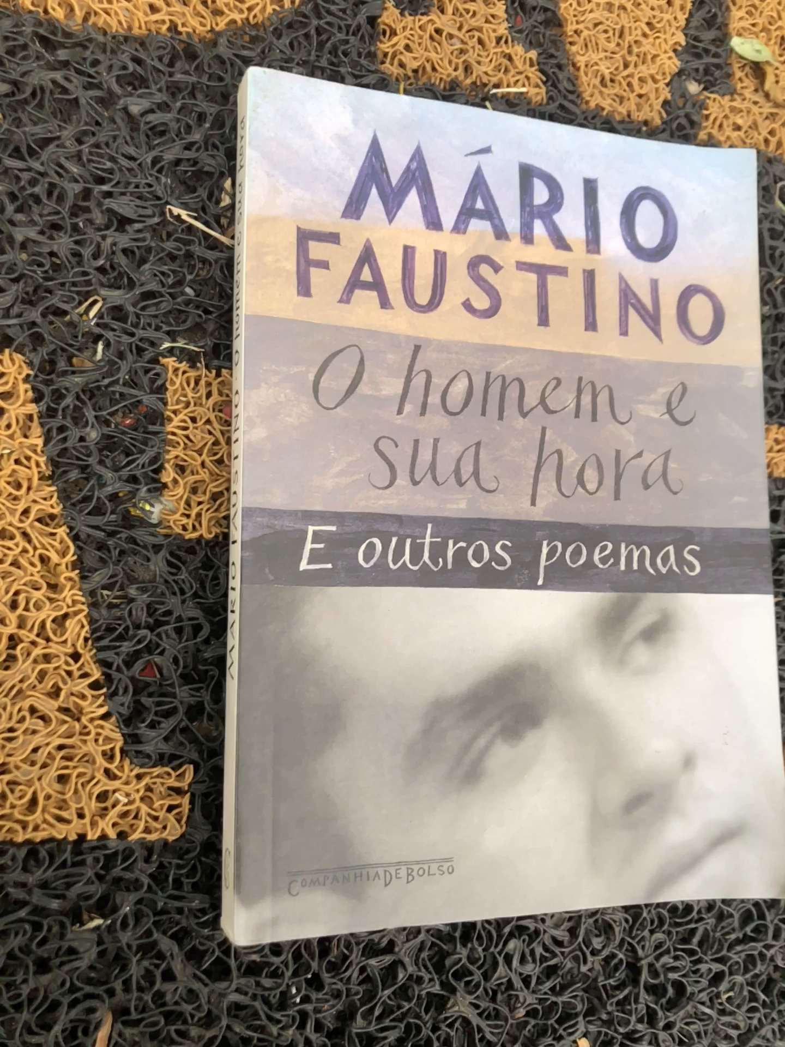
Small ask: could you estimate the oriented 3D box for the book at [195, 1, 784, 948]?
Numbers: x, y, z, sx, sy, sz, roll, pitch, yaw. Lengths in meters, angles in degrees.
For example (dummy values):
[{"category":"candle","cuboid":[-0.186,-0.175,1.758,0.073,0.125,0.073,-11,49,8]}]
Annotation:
[{"category":"book","cuboid":[0.025,-0.010,0.187,0.124,0.020,0.174,2,84,-16]}]
